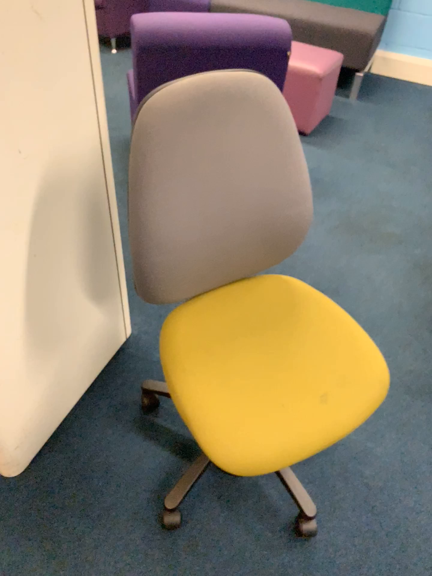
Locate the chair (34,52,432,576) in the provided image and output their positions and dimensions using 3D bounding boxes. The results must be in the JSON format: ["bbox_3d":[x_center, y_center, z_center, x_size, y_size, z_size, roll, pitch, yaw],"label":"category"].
[{"bbox_3d":[0.116,0.113,0.991,0.642,0.921,0.664,-21,50,-24],"label":"chair"}]
